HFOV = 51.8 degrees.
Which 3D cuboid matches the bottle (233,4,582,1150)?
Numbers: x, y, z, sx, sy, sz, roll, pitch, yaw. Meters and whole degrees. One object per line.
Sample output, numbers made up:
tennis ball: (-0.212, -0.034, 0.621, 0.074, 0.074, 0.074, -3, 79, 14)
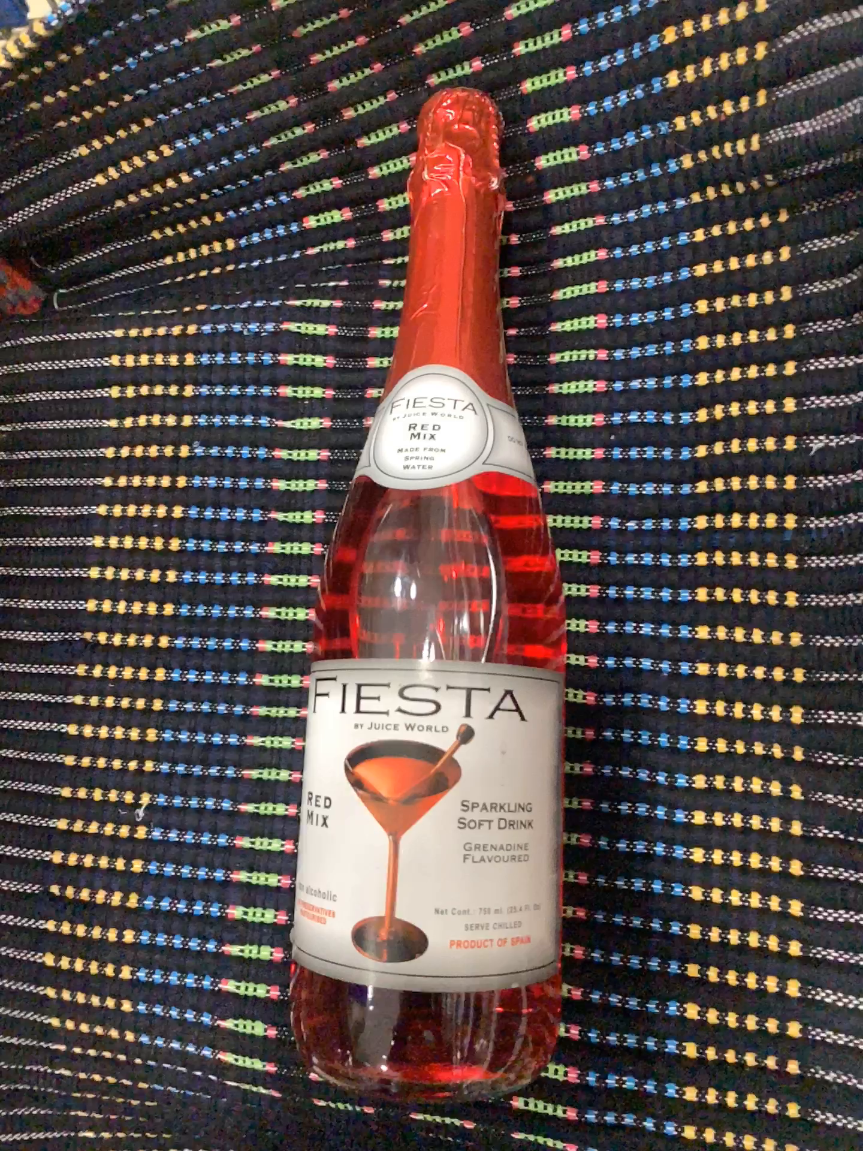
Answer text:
bottle: (0.003, -0.011, 0.279, 0.080, 0.070, 0.310, -2, 78, 16)
